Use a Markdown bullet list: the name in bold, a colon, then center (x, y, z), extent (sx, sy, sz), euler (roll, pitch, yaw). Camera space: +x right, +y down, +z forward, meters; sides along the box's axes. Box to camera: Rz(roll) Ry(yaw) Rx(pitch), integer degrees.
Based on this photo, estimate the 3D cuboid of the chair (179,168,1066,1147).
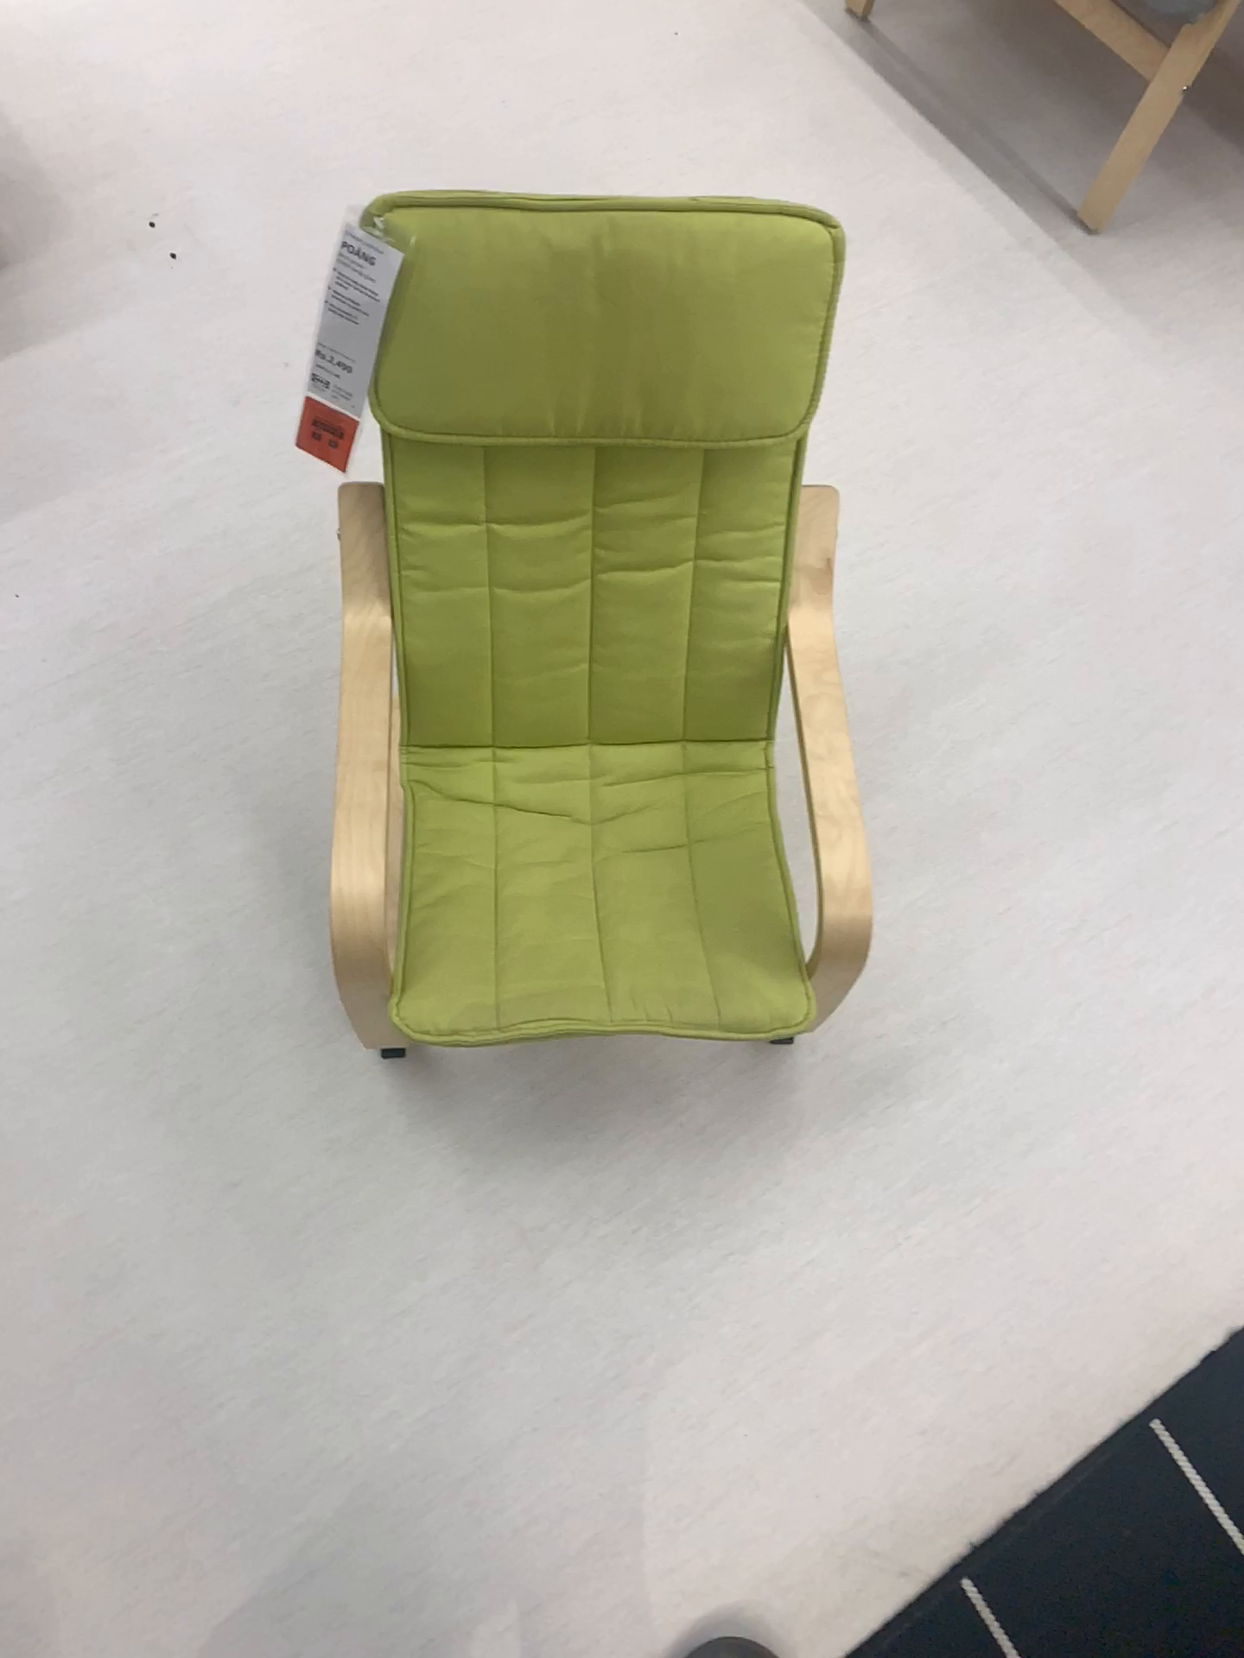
- **chair**: center (-0.043, -0.075, 1.225), extent (0.520, 0.819, 0.571), euler (-2, 65, -6)
